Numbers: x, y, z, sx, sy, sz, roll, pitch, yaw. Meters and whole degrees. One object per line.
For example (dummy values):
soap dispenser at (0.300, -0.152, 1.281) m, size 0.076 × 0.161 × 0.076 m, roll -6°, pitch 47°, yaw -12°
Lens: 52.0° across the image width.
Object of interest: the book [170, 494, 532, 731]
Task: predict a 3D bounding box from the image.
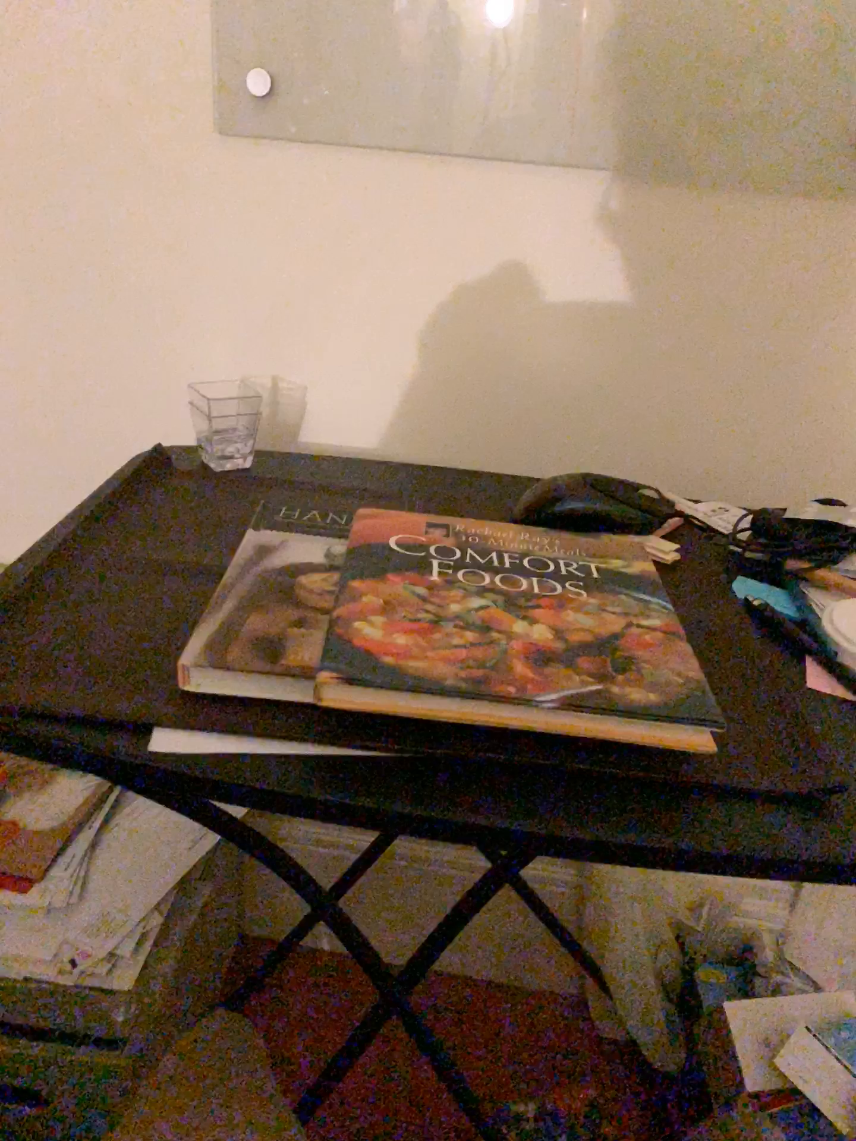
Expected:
book at (-0.036, 0.013, 0.538) m, size 0.180 × 0.020 × 0.221 m, roll 6°, pitch 26°, yaw -2°

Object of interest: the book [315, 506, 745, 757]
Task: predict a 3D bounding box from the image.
book at (0.049, 0.023, 0.505) m, size 0.200 × 0.020 × 0.211 m, roll 6°, pitch 26°, yaw -2°
